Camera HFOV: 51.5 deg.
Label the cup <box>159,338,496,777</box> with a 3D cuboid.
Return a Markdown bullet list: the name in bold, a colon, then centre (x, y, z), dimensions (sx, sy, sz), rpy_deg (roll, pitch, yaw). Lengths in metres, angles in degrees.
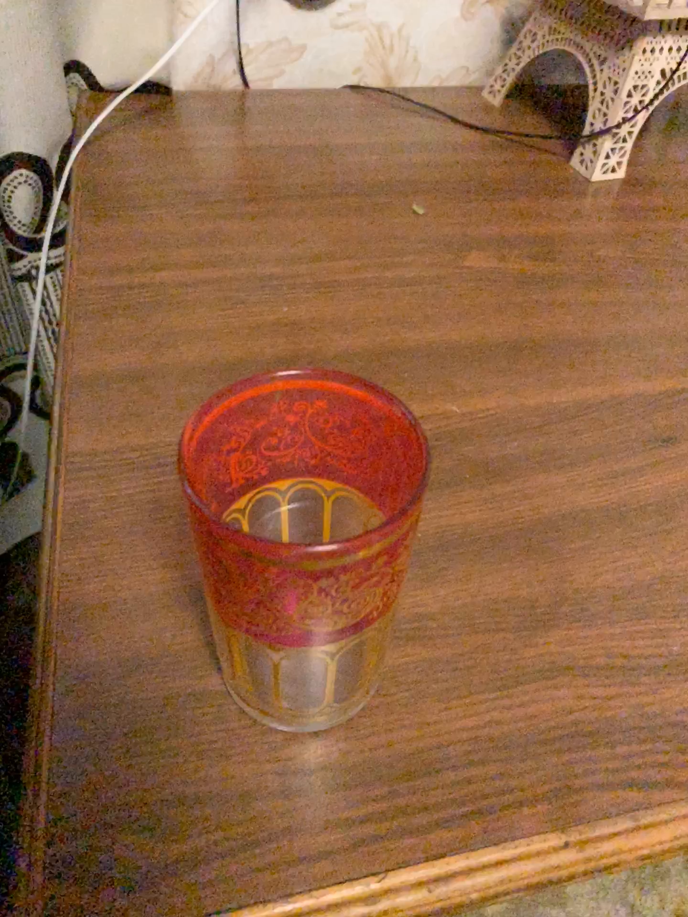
- **cup**: centre (-0.010, 0.030, 0.210), dimensions (0.067, 0.099, 0.070), rpy_deg (2, 44, -1)
